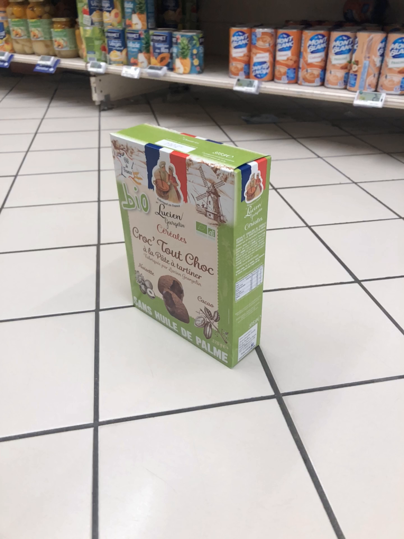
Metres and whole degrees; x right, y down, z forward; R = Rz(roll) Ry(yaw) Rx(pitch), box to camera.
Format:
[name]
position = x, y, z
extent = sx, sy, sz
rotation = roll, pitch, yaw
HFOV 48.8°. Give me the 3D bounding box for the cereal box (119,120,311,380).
[cereal box]
position = 0.005, -0.031, 0.524
extent = 0.080, 0.239, 0.200
rotation = -26, 40, -38
